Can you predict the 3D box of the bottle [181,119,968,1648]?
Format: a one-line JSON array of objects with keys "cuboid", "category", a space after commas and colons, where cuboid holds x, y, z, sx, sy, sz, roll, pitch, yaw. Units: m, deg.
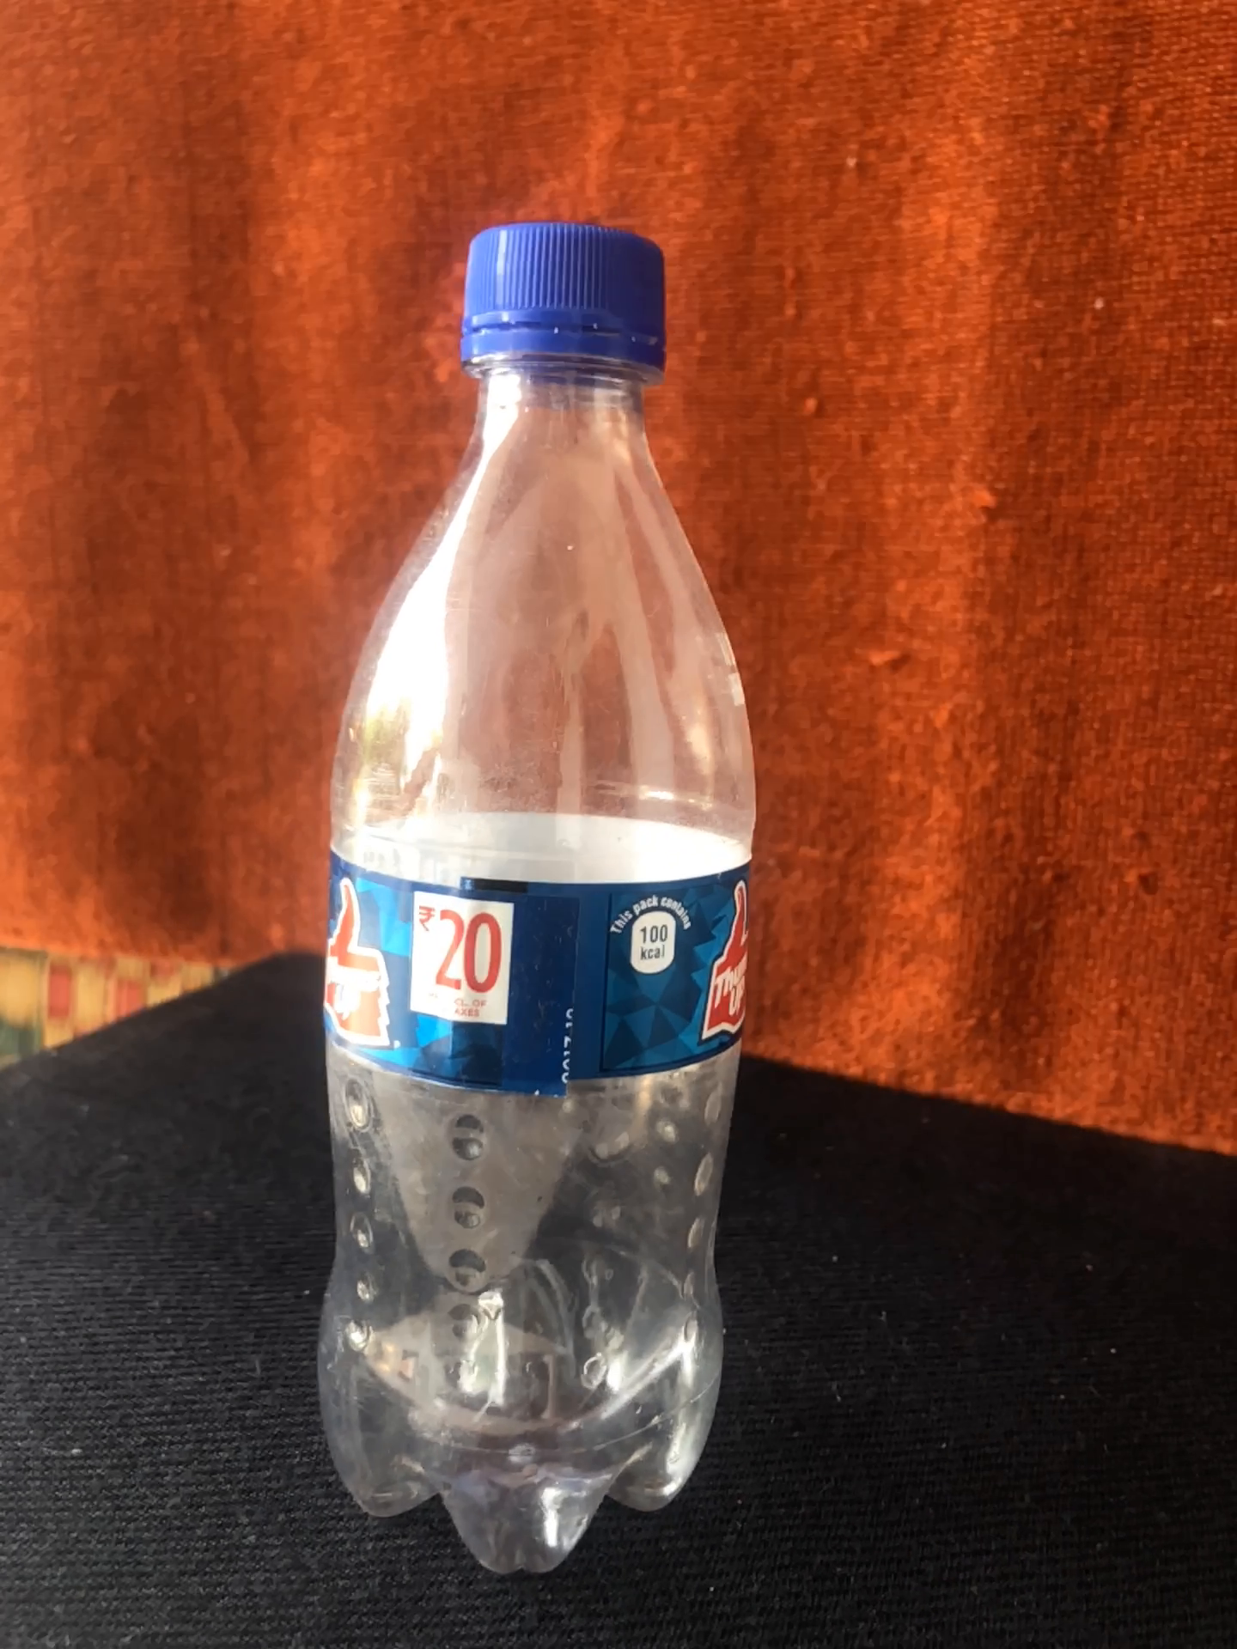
[{"cuboid": [-0.004, 0.008, 0.151, 0.060, 0.140, 0.050, 9, 14, 25], "category": "bottle"}]
